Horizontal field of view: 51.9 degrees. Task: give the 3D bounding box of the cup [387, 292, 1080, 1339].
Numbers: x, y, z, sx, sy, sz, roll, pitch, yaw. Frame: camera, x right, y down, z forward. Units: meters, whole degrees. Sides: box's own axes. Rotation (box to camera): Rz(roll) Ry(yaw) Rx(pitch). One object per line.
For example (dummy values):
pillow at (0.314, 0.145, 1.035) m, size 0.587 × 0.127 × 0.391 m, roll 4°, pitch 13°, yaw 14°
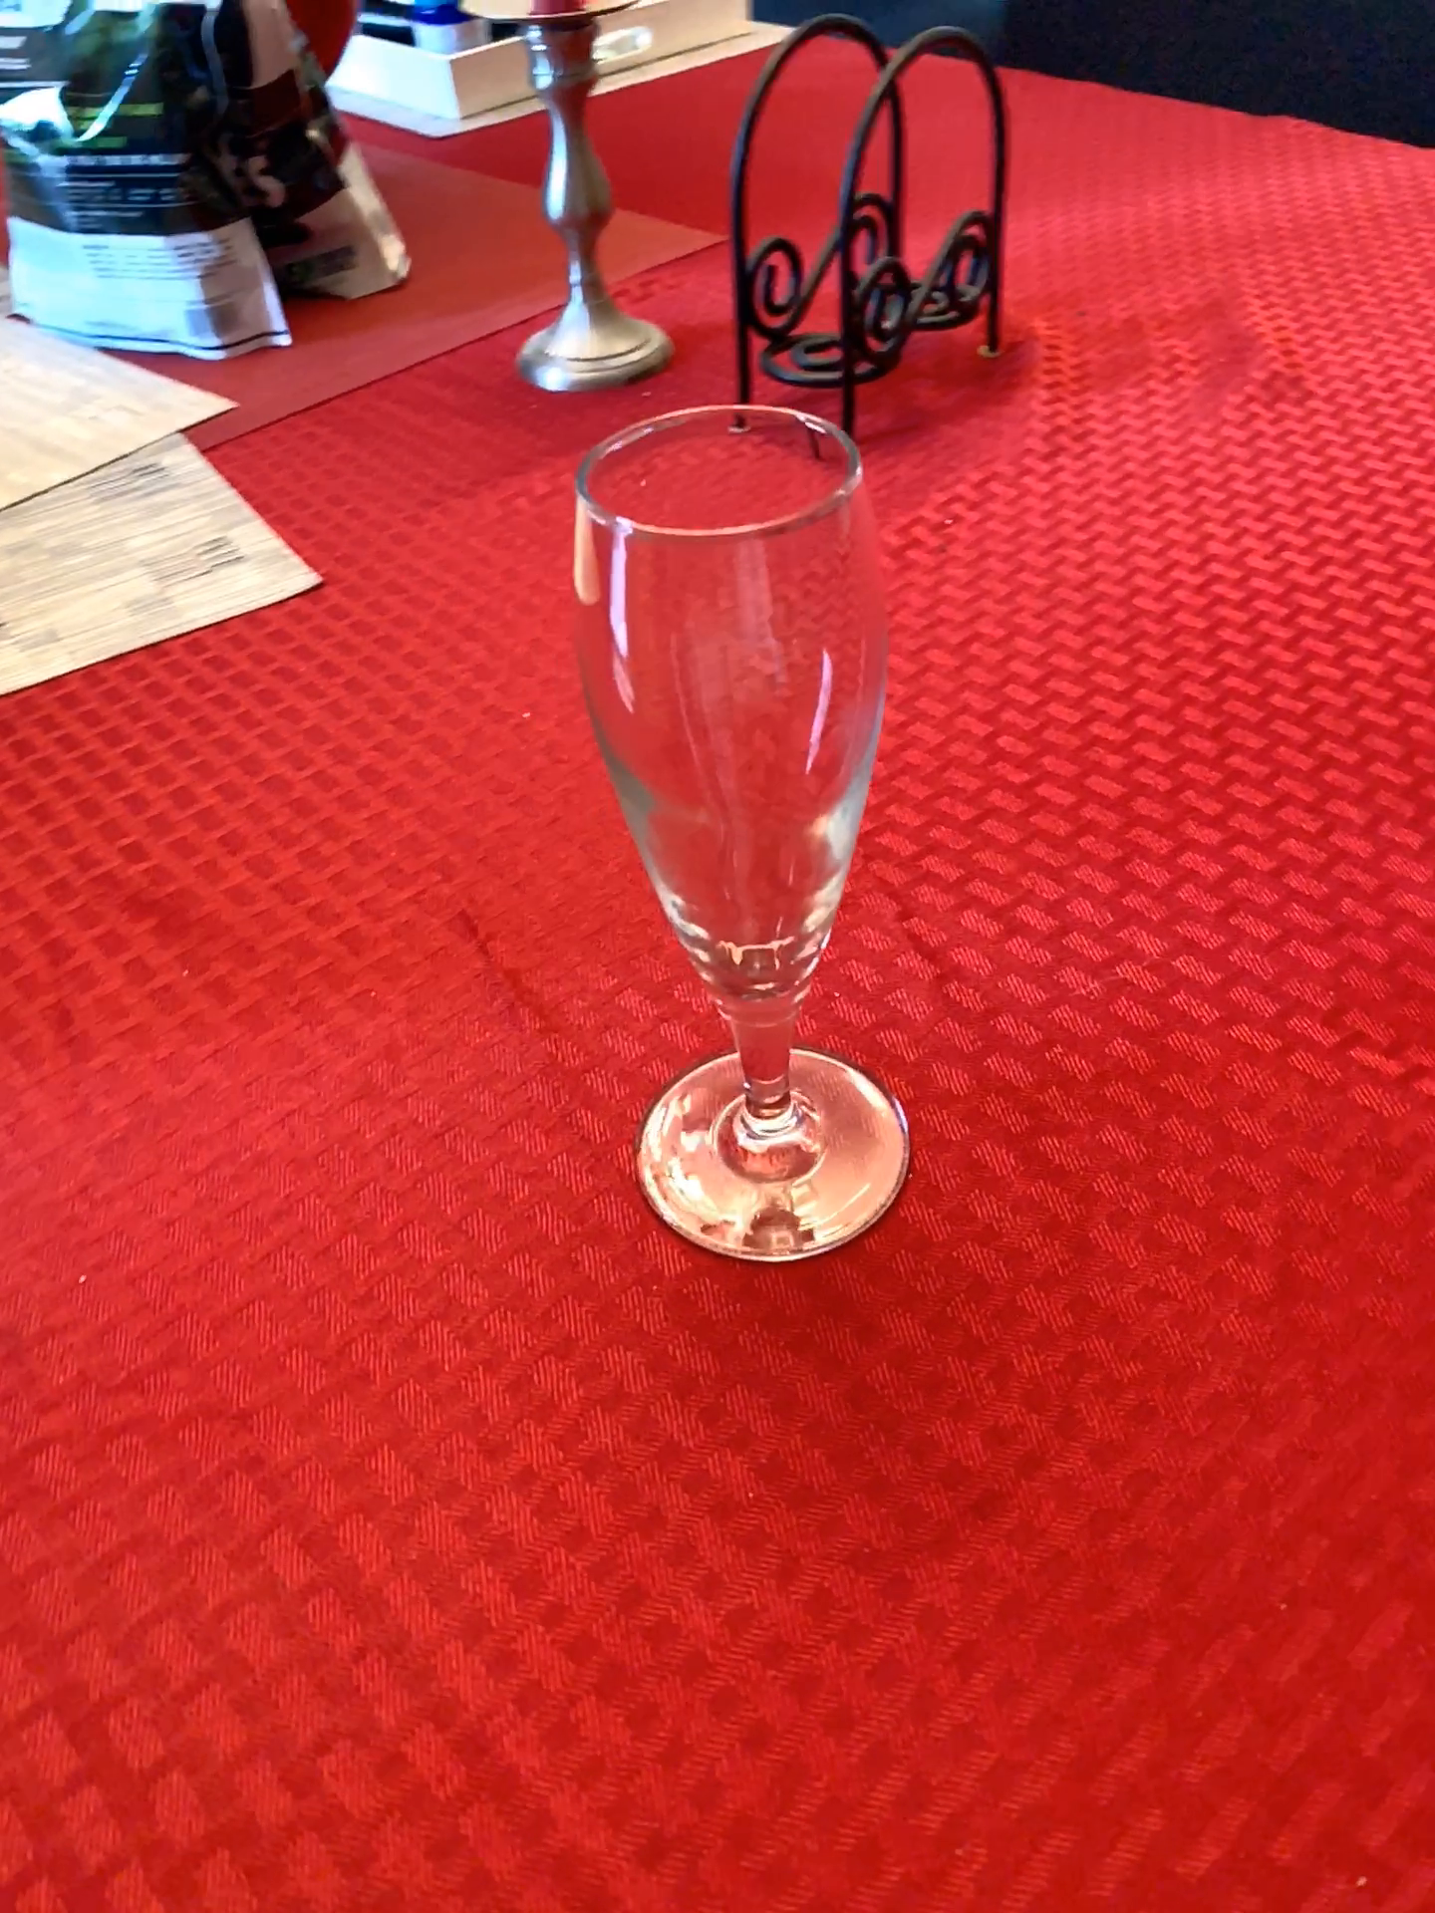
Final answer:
cup at (0.007, -0.021, 0.298) m, size 0.080 × 0.179 × 0.080 m, roll -3°, pitch 44°, yaw 3°
